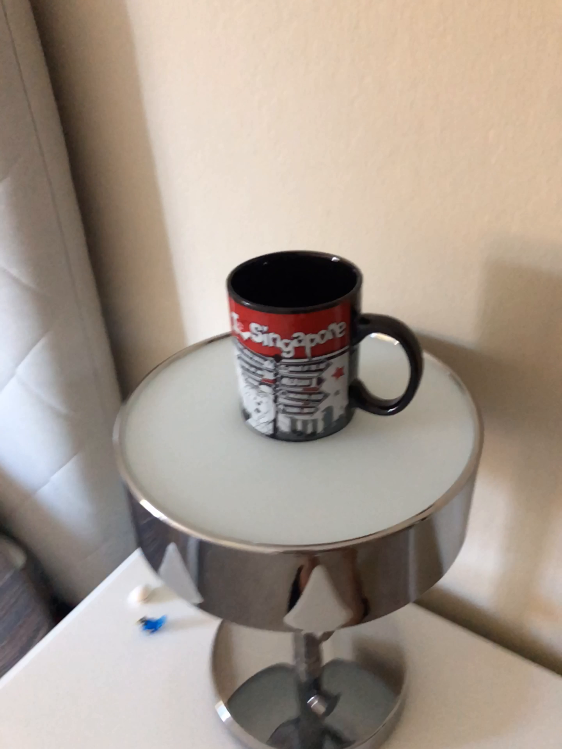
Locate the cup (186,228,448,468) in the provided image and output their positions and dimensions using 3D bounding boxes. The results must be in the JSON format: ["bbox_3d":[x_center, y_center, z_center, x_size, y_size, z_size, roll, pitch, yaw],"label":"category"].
[{"bbox_3d":[0.026,-0.022,0.387,0.130,0.100,0.090,10,36,19],"label":"cup"}]
